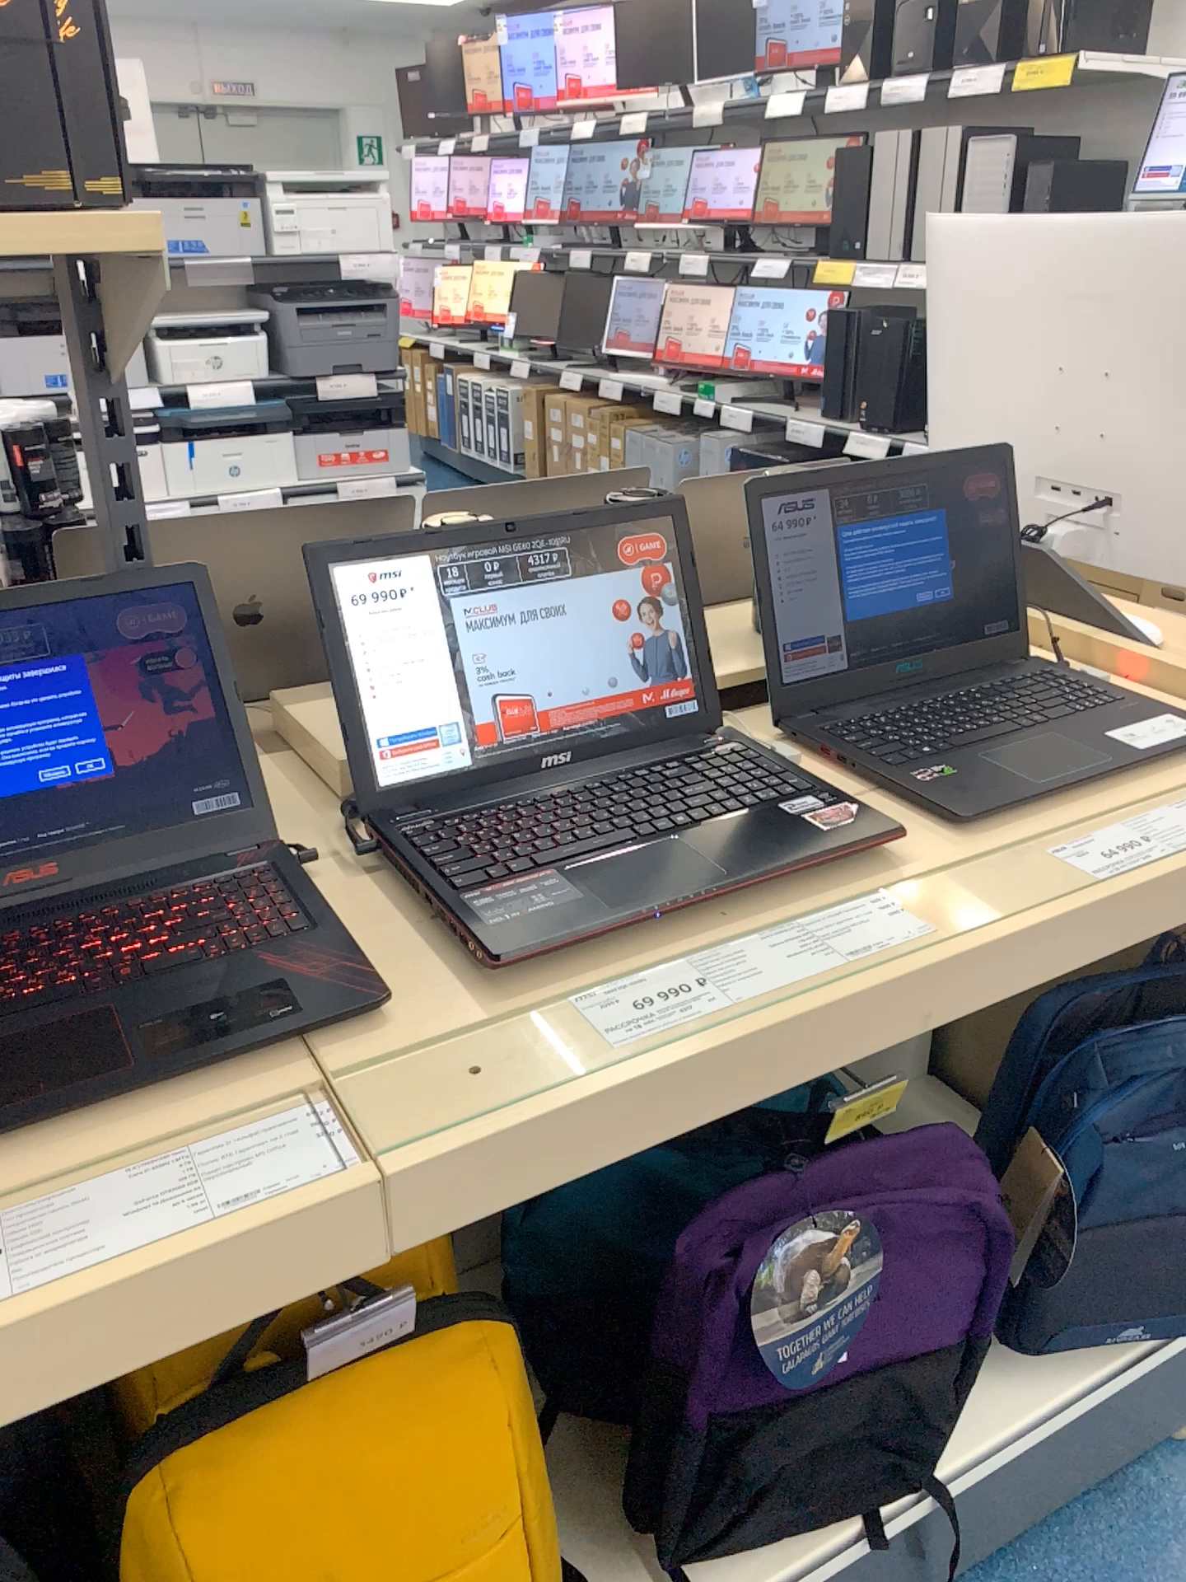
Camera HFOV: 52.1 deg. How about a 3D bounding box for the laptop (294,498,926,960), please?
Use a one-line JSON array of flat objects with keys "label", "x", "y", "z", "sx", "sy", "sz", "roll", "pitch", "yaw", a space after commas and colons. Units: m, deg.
[{"label": "laptop", "x": 0.005, "y": -0.079, "z": 0.938, "sx": 0.356, "sy": 0.197, "sz": 0.313, "roll": -14, "pitch": 29, "yaw": -29}]
